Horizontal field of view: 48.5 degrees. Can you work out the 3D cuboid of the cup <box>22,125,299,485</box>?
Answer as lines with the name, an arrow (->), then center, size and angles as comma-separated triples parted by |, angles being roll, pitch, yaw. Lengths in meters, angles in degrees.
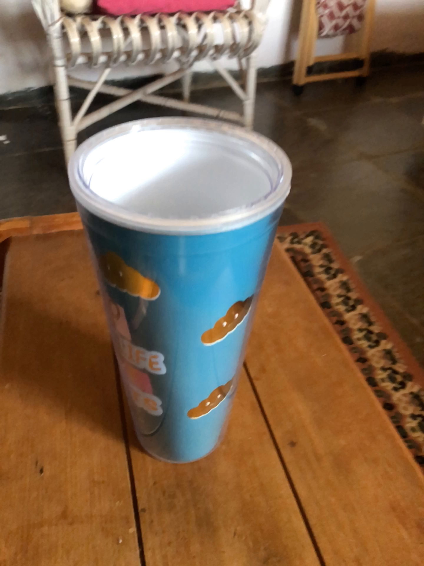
cup -> -0.027, 0.019, 0.267 | 0.100, 0.179, 0.101 | 2, 41, -2
